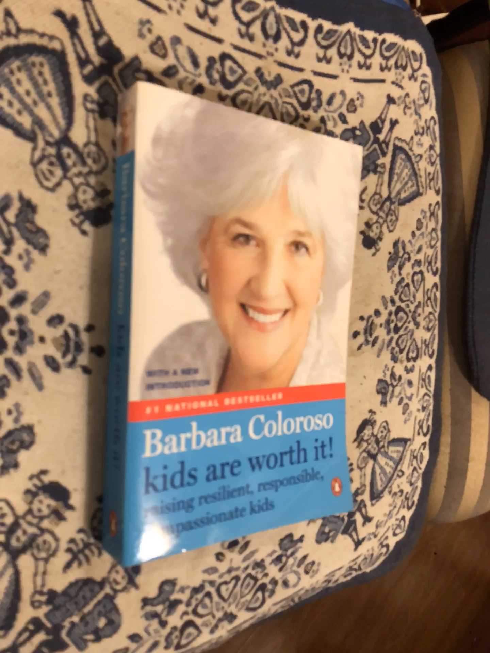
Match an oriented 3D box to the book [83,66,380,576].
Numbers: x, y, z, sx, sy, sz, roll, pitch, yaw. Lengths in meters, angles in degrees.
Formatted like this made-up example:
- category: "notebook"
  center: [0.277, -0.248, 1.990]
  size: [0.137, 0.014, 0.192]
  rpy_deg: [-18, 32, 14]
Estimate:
- category: "book"
  center: [-0.002, 0.000, 0.295]
  size: [0.151, 0.050, 0.220]
  rpy_deg: [1, 93, -37]
